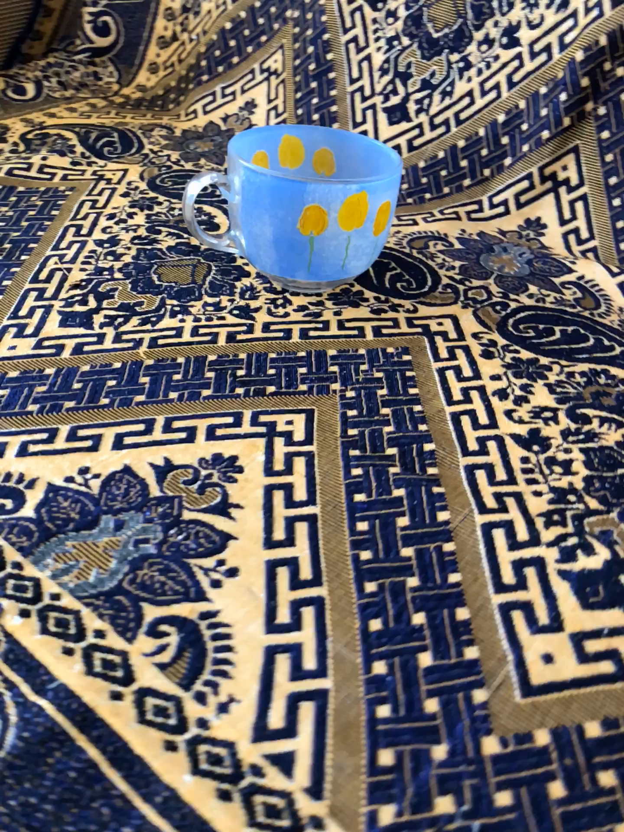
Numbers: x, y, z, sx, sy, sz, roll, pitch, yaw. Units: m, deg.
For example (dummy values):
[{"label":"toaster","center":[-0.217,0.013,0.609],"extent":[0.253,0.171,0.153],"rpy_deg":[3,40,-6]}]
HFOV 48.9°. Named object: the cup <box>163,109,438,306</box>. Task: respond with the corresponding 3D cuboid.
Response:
[{"label":"cup","center":[-0.013,-0.139,0.440],"extent":[0.138,0.072,0.109],"rpy_deg":[-11,44,-19]}]
